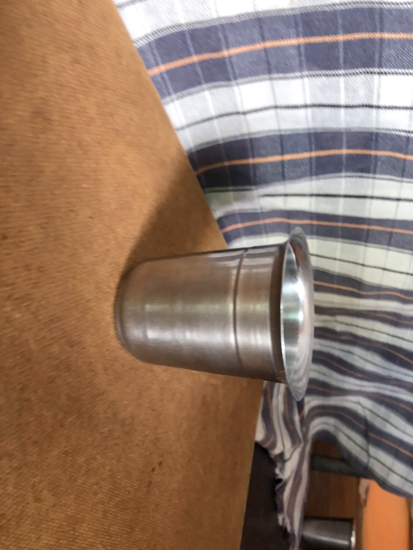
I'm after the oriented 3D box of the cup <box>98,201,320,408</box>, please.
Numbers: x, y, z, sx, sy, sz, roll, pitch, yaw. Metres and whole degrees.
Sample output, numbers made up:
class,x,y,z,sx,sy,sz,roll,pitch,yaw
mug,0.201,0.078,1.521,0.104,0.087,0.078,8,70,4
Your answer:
class,x,y,z,sx,sy,sz,roll,pitch,yaw
cup,0.009,0.012,0.227,0.070,0.079,0.070,-2,90,-69
